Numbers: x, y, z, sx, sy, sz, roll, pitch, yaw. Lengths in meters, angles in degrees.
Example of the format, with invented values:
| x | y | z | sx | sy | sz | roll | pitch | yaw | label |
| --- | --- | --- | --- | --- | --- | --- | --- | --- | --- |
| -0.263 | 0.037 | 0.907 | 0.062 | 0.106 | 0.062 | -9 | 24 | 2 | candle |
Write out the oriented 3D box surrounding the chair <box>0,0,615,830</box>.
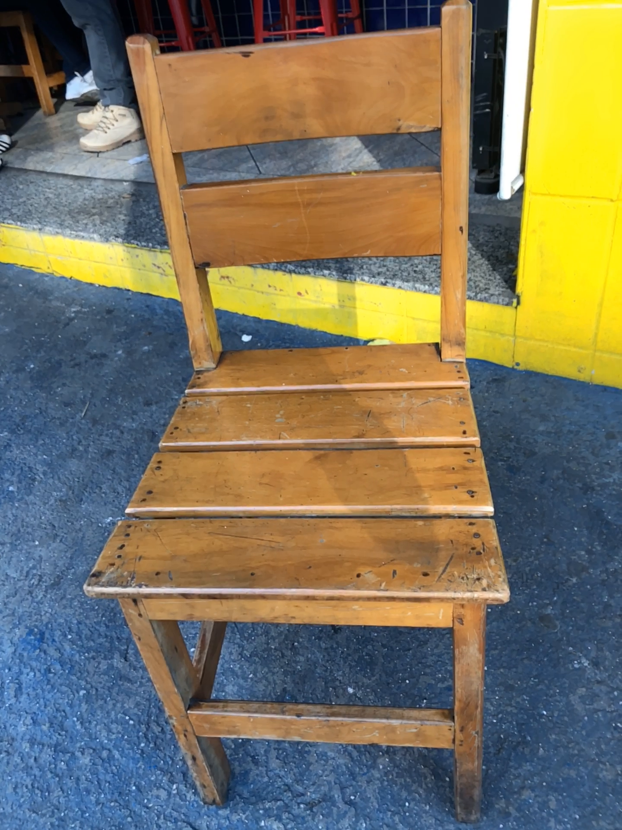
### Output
| x | y | z | sx | sy | sz | roll | pitch | yaw | label |
| --- | --- | --- | --- | --- | --- | --- | --- | --- | --- |
| 0.010 | 0.026 | 0.753 | 0.400 | 0.804 | 0.443 | -1 | 36 | 9 | chair |
